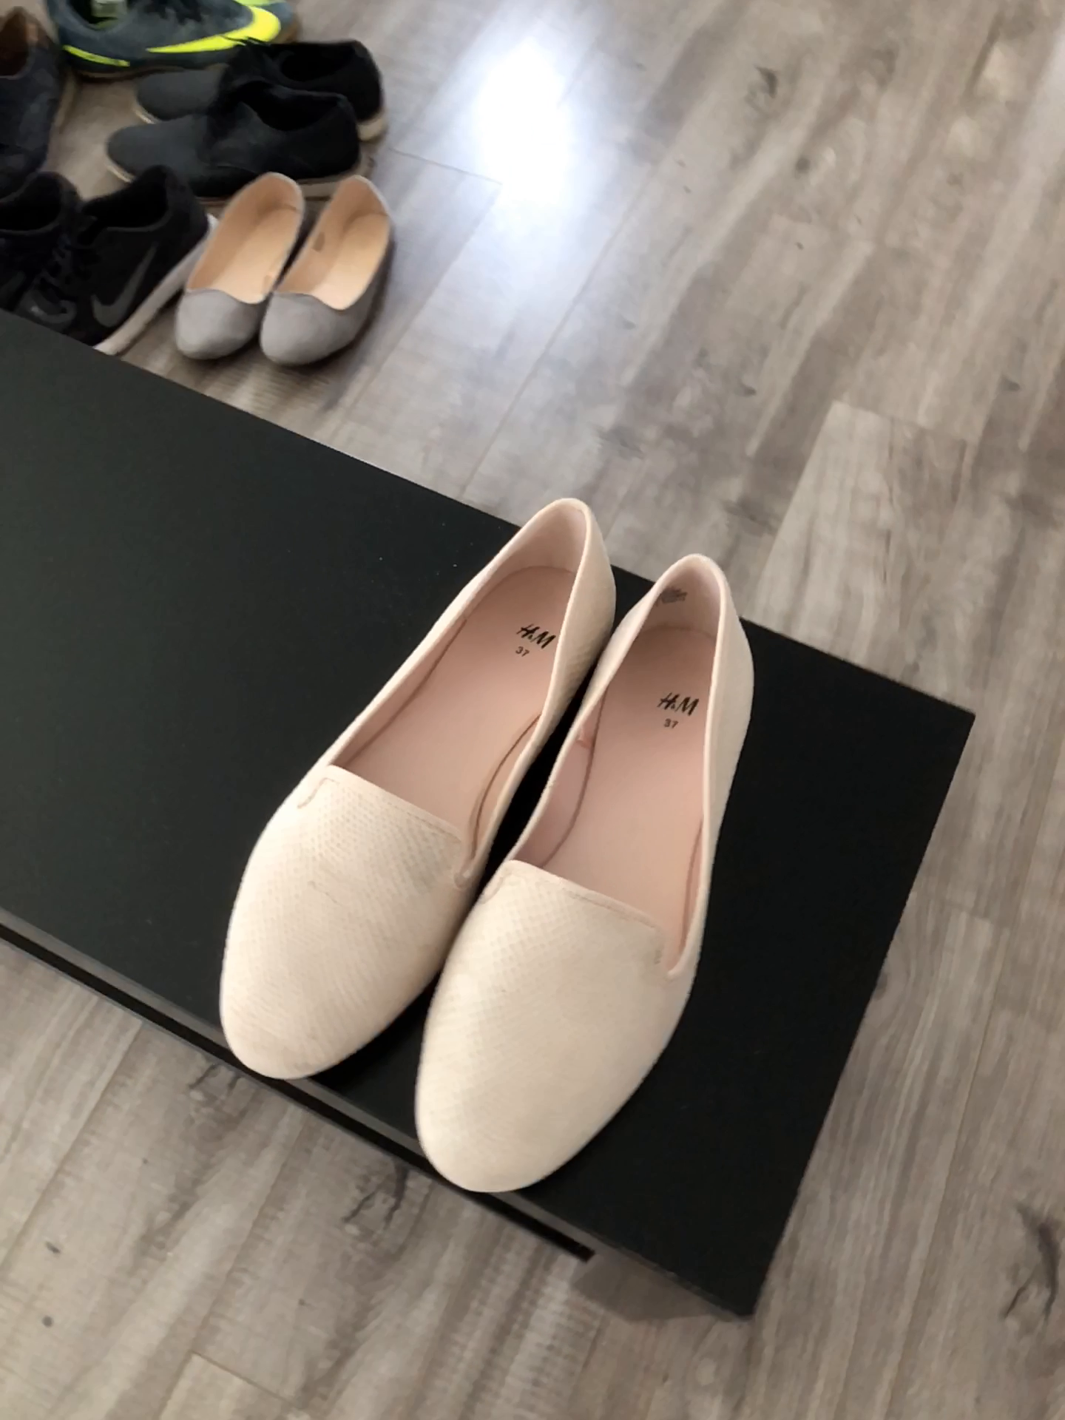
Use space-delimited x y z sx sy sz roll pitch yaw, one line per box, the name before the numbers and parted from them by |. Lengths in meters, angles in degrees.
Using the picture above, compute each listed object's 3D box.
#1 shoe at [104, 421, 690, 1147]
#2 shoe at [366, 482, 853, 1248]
shoe | -0.037 0.017 0.446 0.090 0.070 0.259 24 64 12
shoe | 0.036 0.045 0.428 0.080 0.070 0.259 20 63 10
